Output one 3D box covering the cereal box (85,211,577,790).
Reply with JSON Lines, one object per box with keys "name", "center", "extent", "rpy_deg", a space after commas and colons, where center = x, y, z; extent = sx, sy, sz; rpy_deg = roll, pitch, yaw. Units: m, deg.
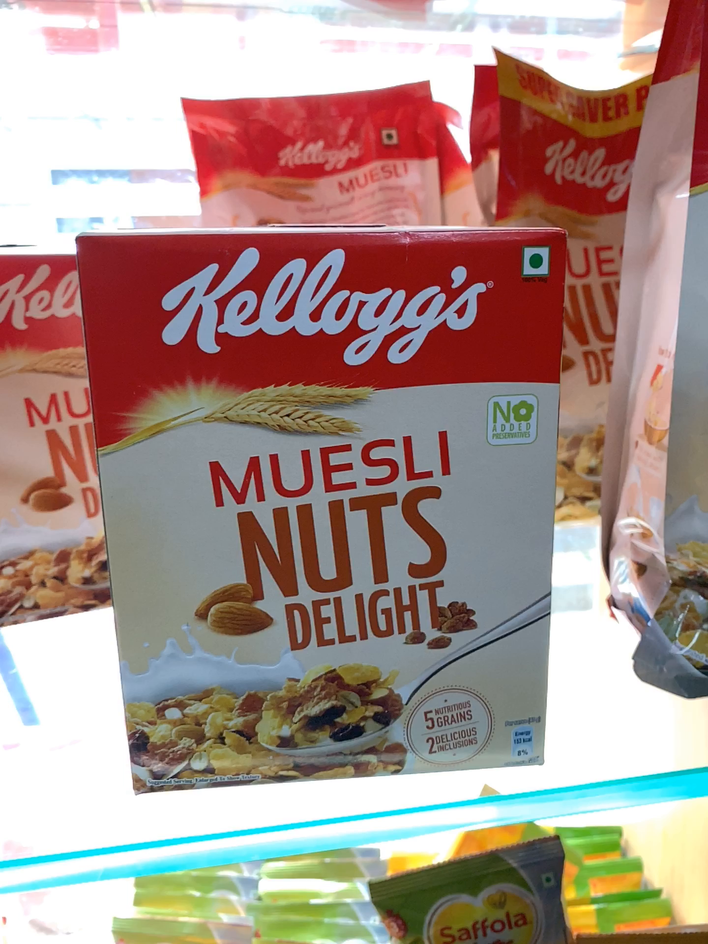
{"name": "cereal box", "center": [-0.005, 0.008, 0.240], "extent": [0.130, 0.169, 0.050], "rpy_deg": [-2, 14, -4]}
